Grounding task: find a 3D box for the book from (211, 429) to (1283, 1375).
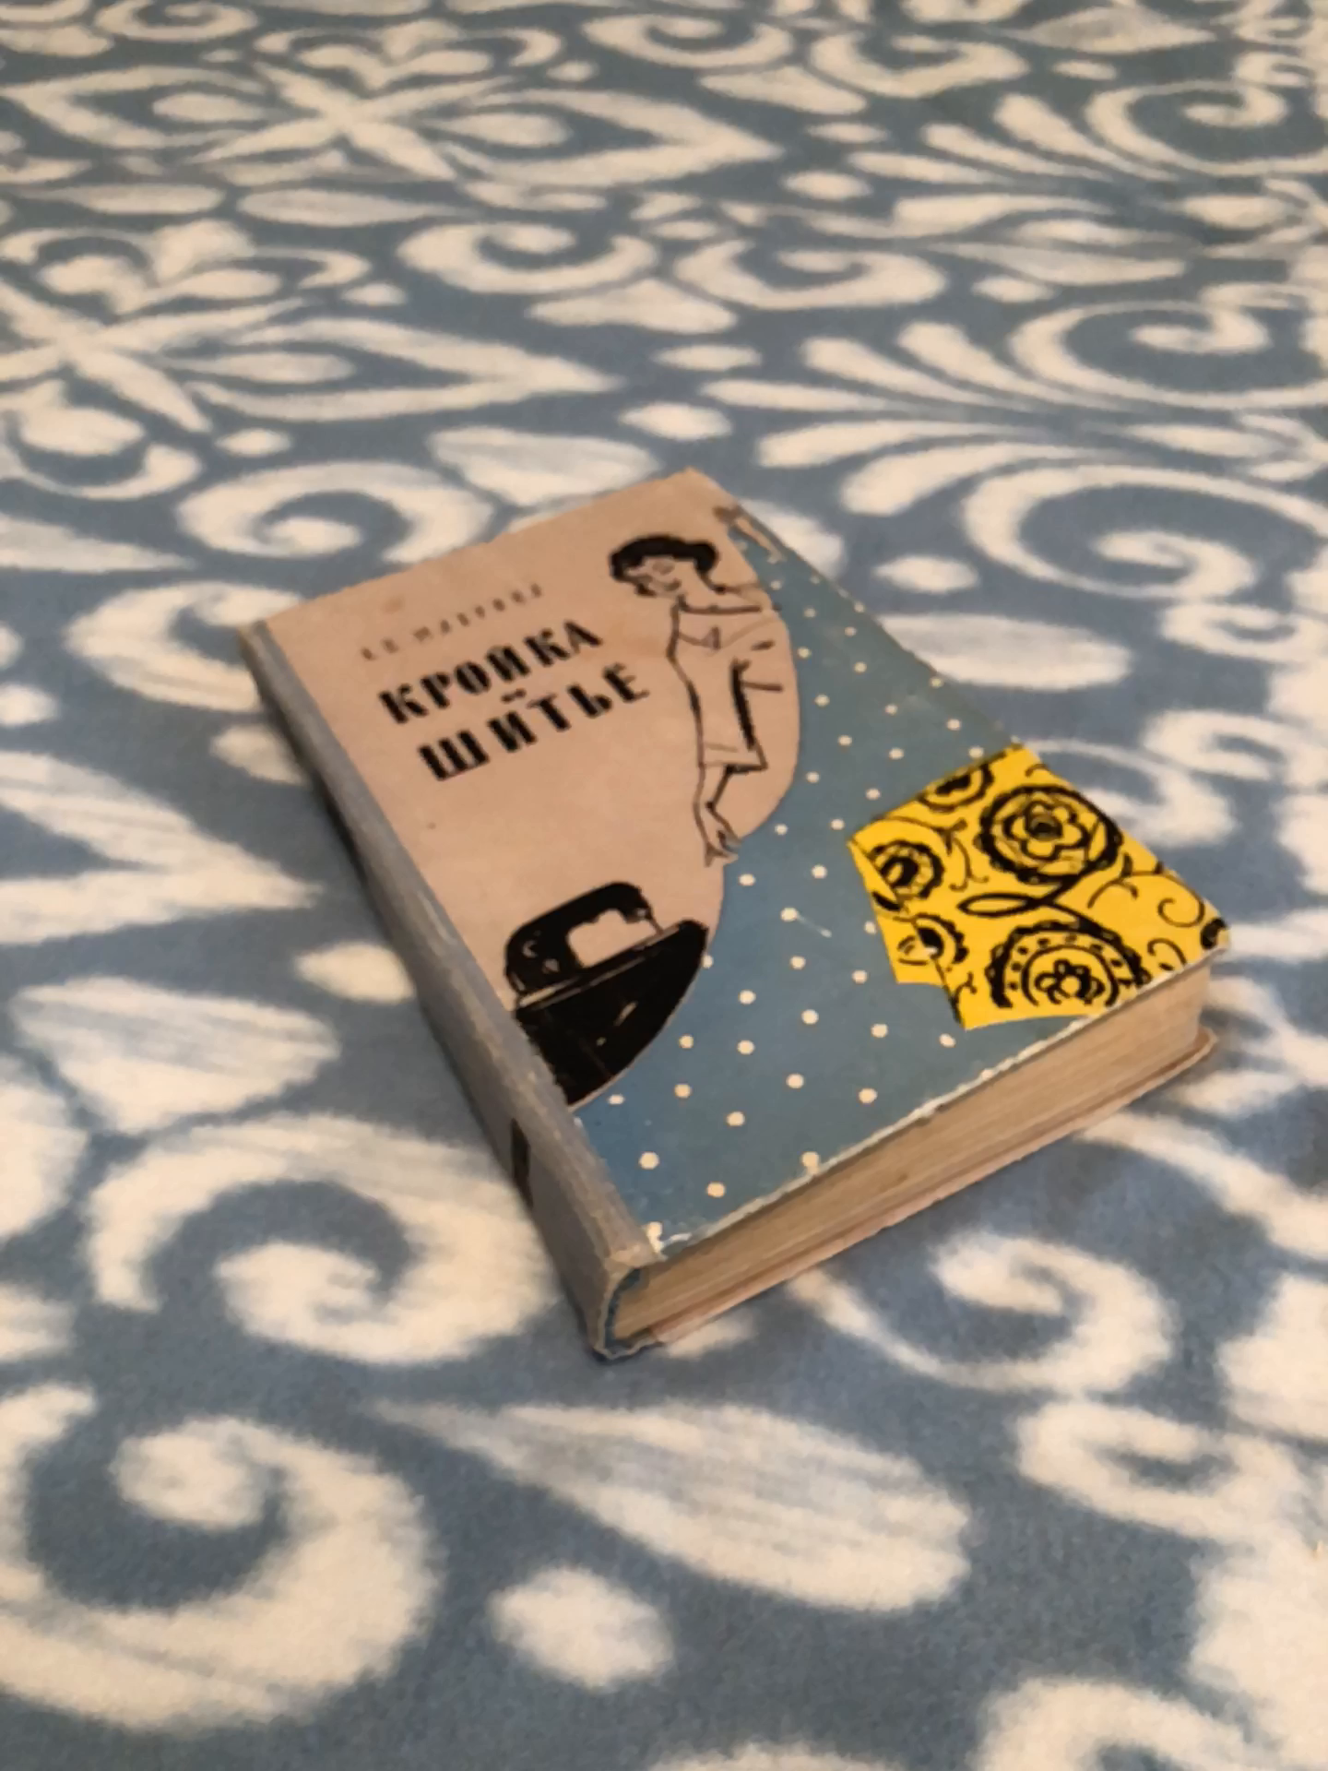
[{"bbox_3d":[0.002,-0.022,0.357,0.152,0.037,0.232,-24,48,-16],"label":"book"}]
